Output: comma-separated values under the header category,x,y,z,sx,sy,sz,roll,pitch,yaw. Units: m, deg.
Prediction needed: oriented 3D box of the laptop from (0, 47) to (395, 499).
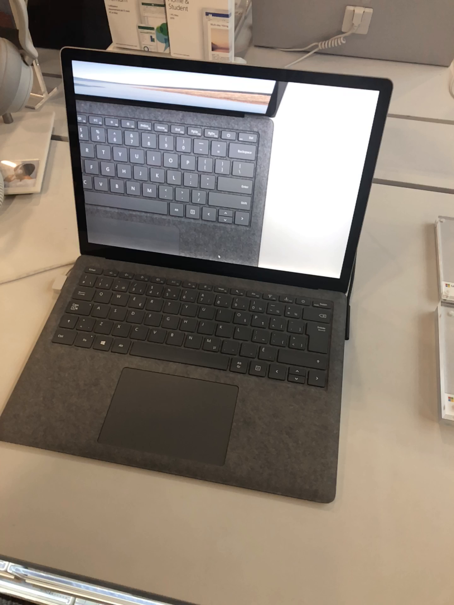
category,x,y,z,sx,sy,sz,roll,pitch,yaw
laptop,-0.032,-0.037,0.439,0.297,0.197,0.296,9,54,6
